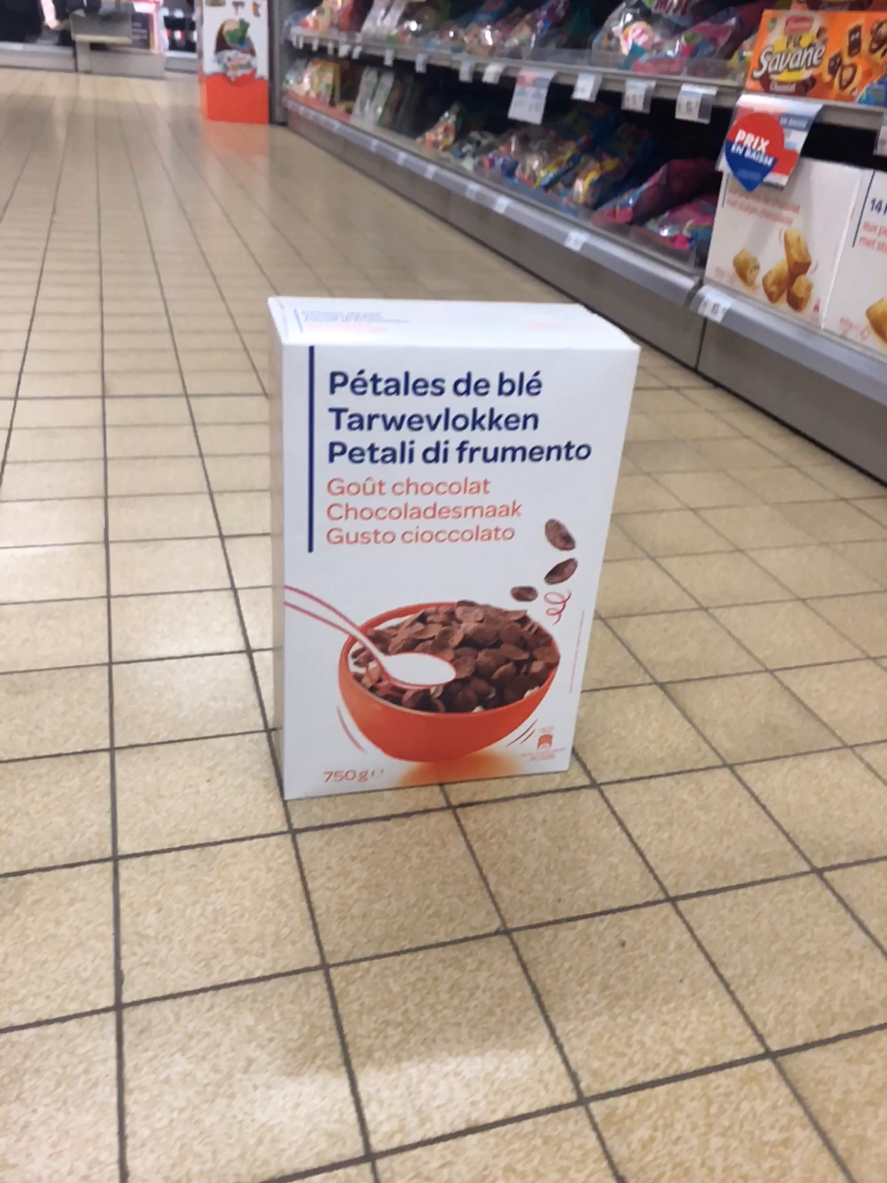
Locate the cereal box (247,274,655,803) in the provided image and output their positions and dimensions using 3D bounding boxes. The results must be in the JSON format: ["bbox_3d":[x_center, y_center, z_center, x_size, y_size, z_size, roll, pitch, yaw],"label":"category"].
[{"bbox_3d":[-0.011,-0.029,0.588,0.200,0.288,0.100,-3,29,-15],"label":"cereal box"}]
